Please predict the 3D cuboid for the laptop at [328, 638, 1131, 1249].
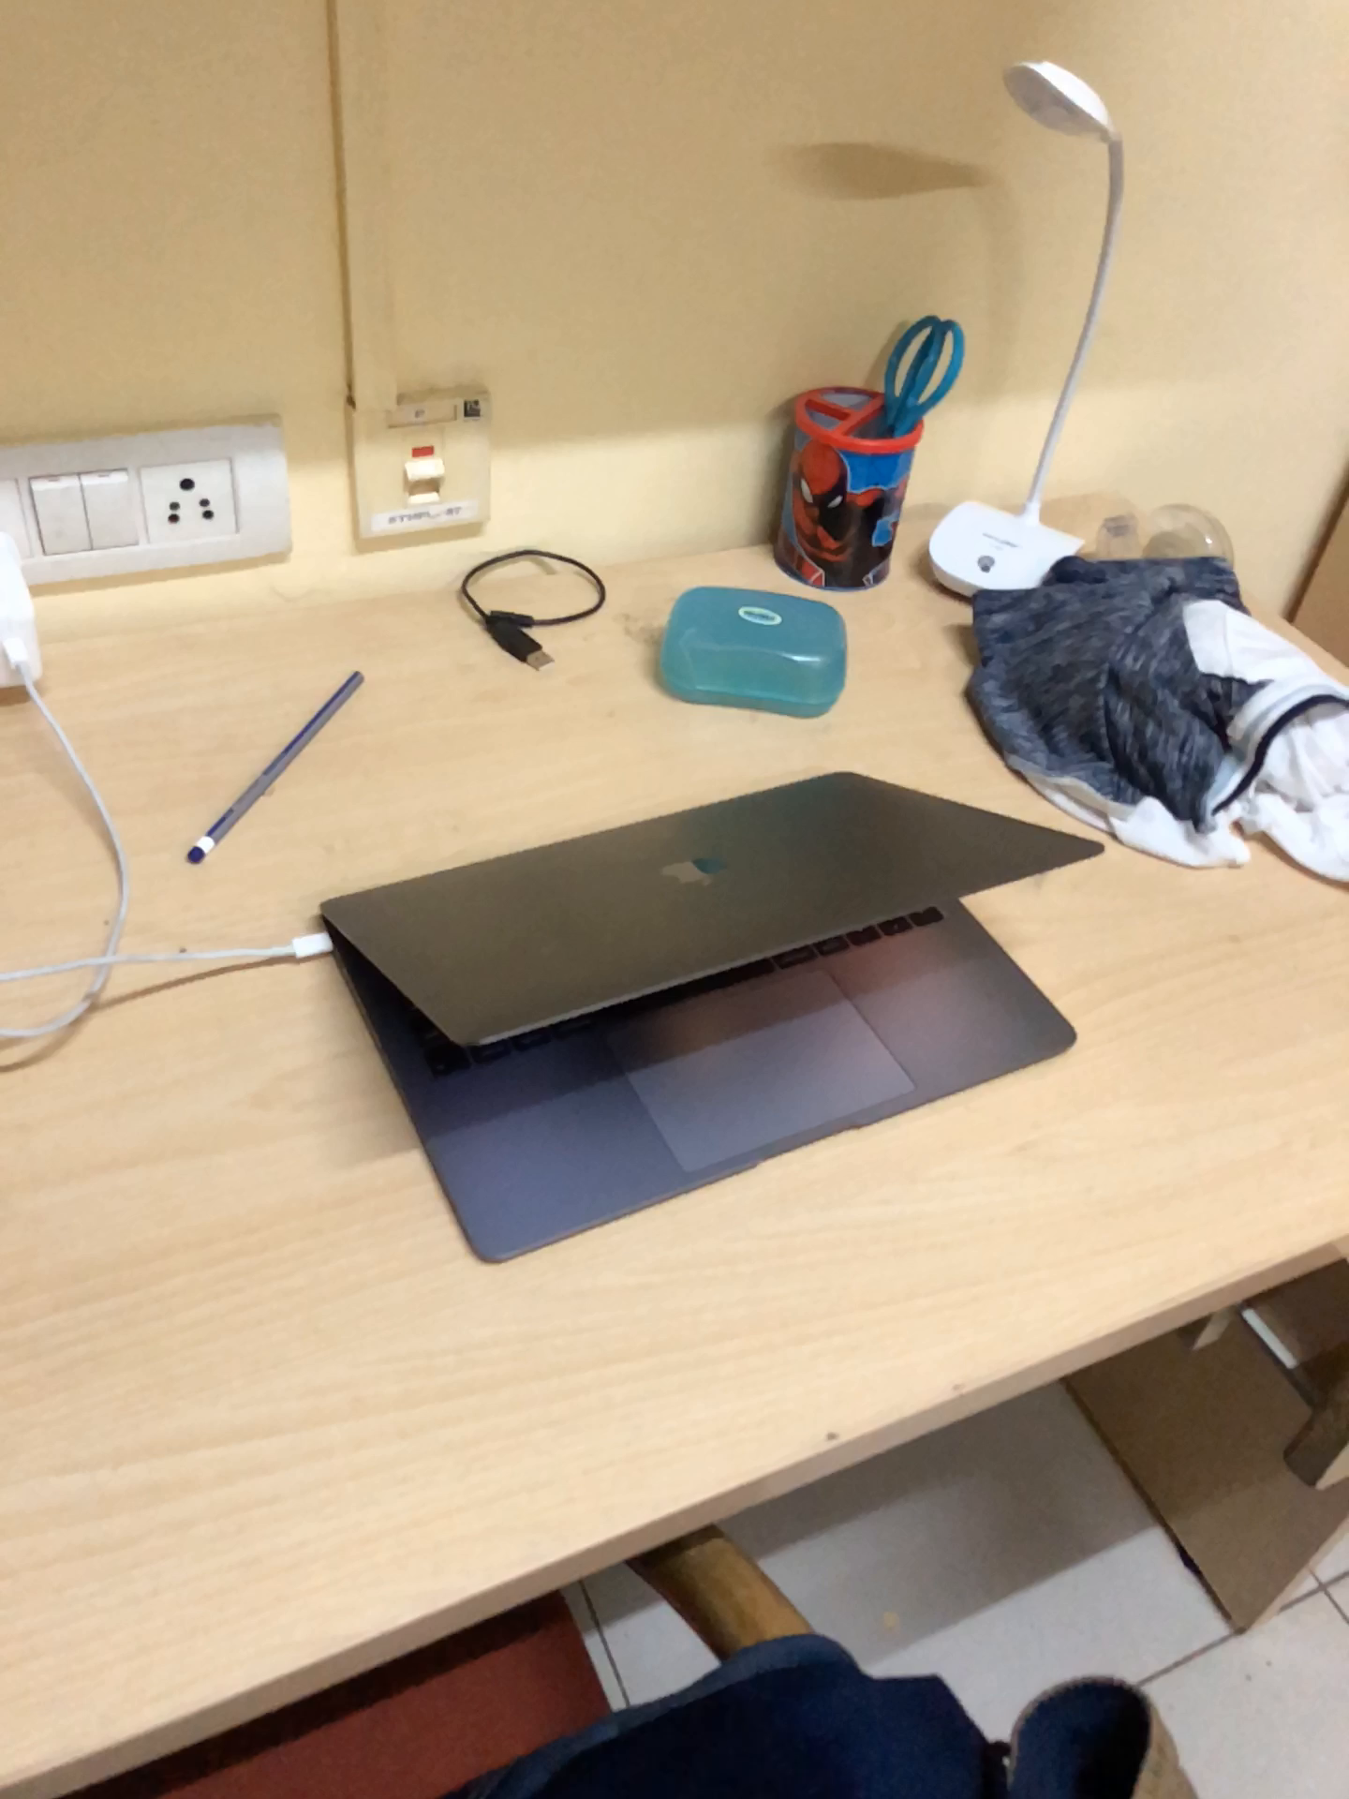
[{"bbox_3d":[0.019,0.002,0.666,0.295,0.094,0.193,-16,48,-24],"label":"laptop"}]
